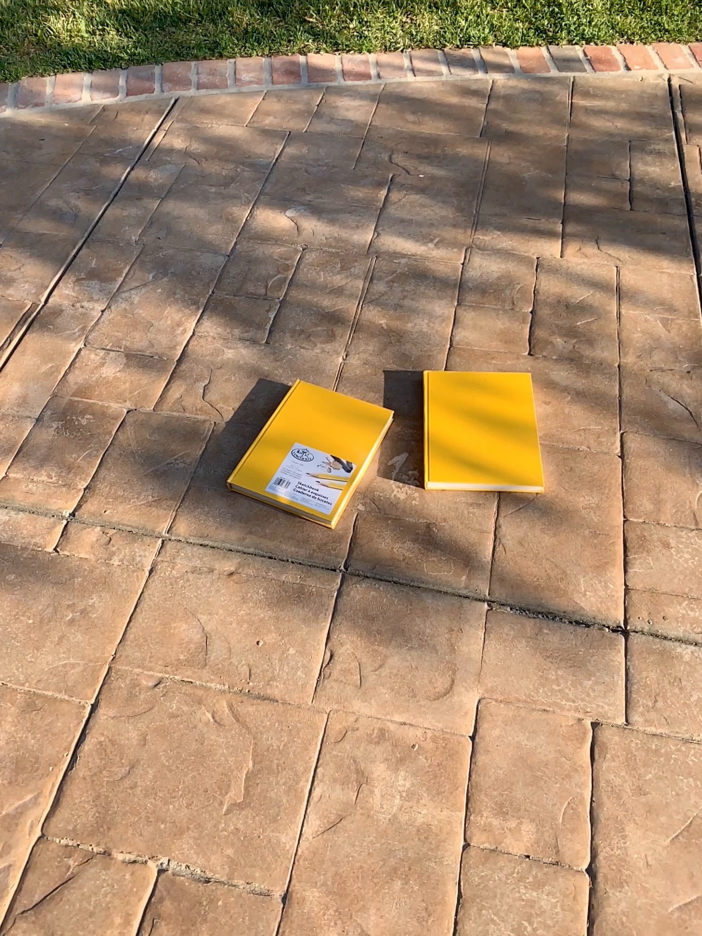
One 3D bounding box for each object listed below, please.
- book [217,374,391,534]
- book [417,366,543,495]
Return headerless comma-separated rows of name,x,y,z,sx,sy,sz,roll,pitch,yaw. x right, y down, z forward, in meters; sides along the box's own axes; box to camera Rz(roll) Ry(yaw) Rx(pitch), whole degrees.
book,-0.085,-0.038,1.396,0.230,0.040,0.291,20,57,15
book,0.248,-0.082,1.429,0.230,0.040,0.291,2,54,3
